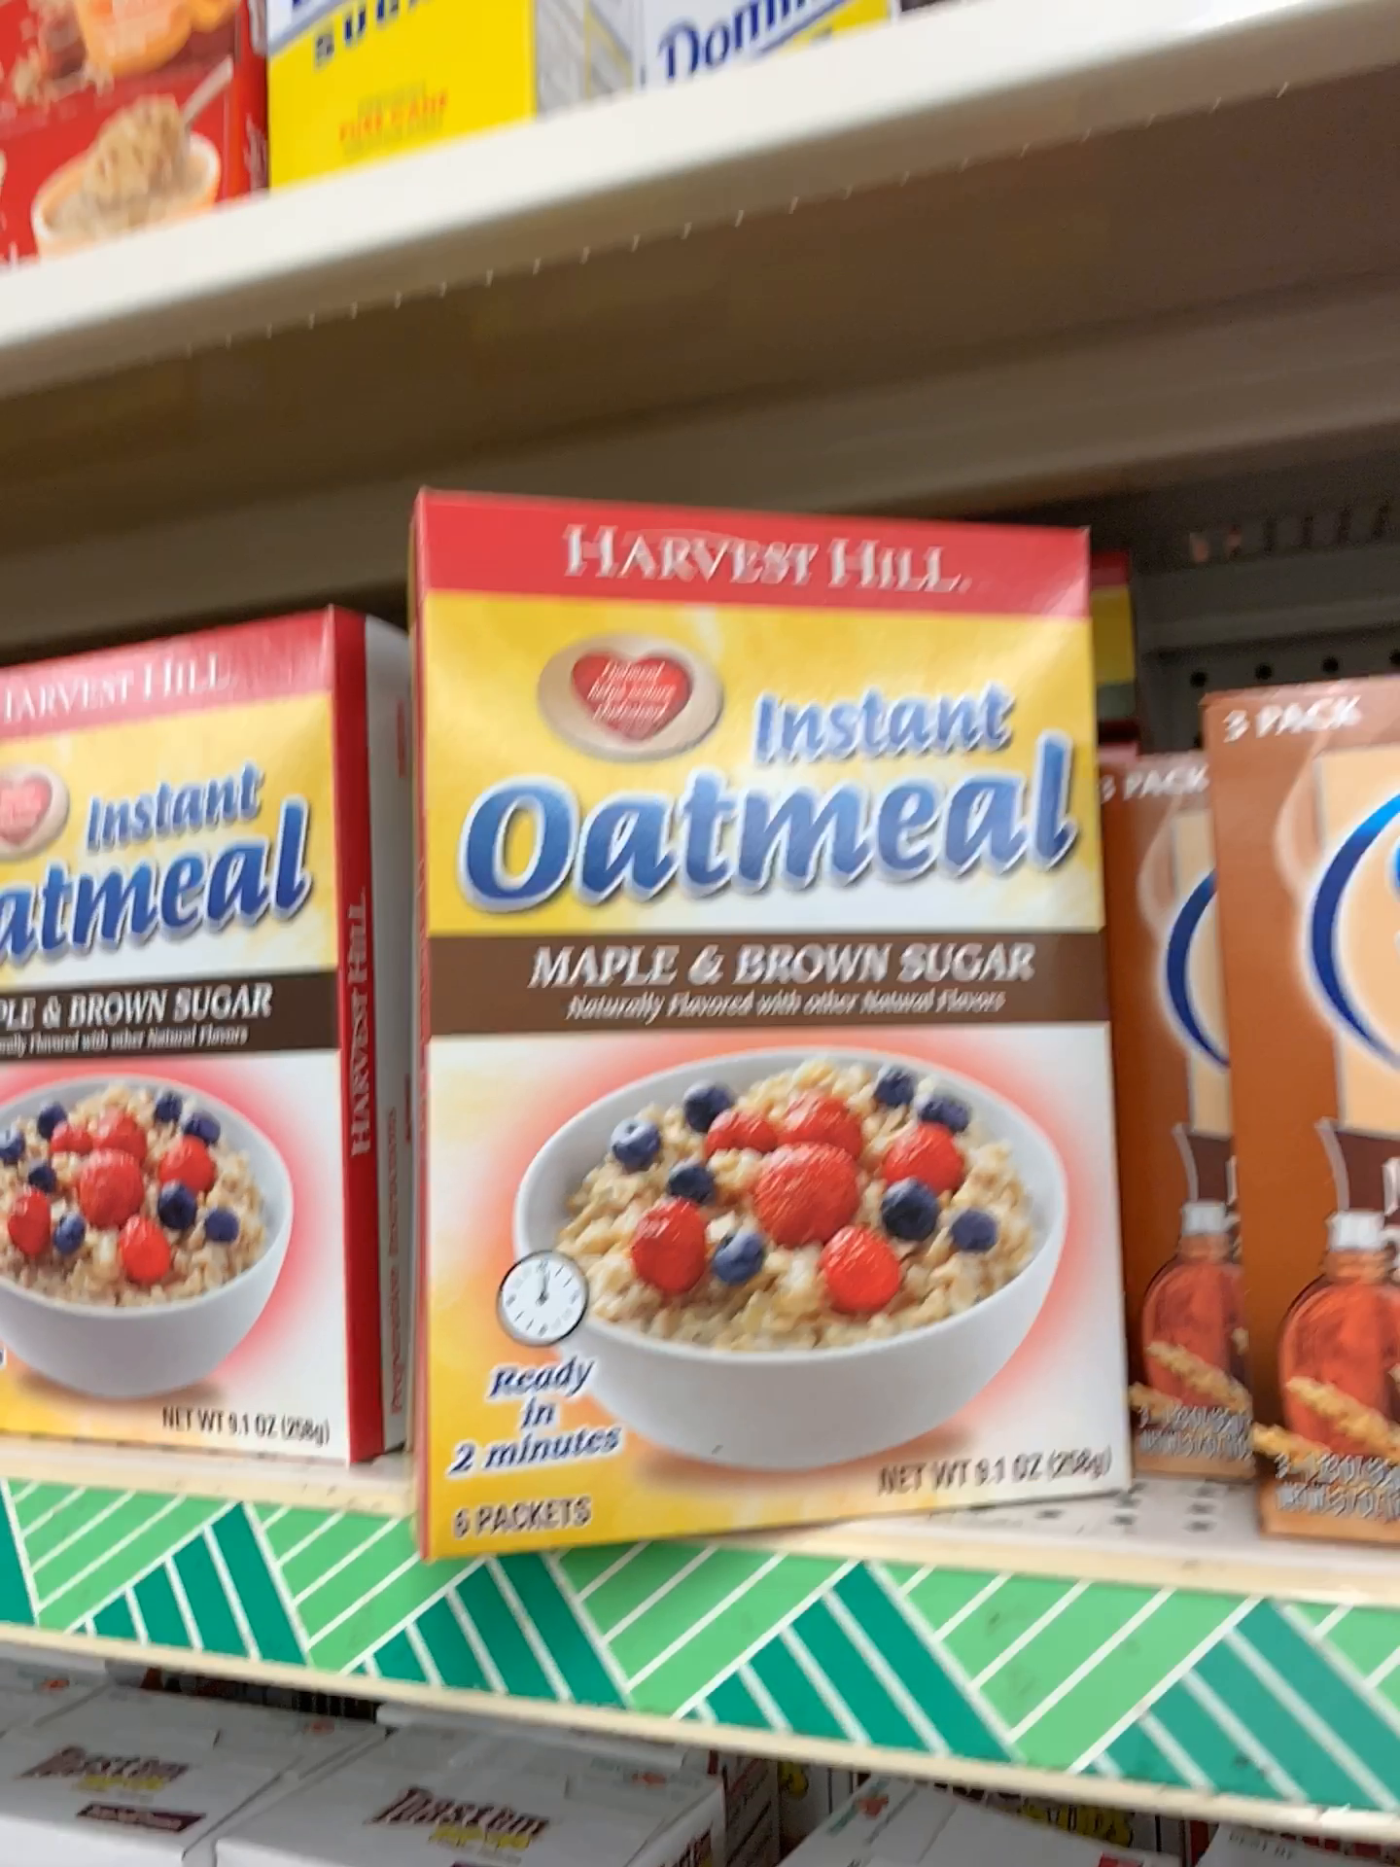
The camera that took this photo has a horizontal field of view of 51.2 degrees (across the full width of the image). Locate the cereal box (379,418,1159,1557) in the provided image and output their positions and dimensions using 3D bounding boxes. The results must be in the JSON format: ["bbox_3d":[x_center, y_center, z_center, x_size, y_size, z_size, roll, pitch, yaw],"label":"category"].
[{"bbox_3d":[0.008,0.007,0.270,0.130,0.180,0.050,0,-6,-13],"label":"cereal box"}]
